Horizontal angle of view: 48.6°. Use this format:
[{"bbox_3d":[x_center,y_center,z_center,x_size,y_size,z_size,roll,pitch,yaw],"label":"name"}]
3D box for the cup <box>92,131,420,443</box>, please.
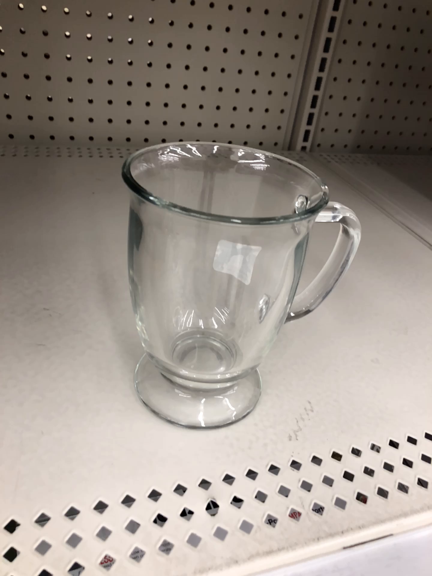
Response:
[{"bbox_3d":[0.006,-0.009,0.277,0.138,0.128,0.110,-4,35,-17],"label":"cup"}]
